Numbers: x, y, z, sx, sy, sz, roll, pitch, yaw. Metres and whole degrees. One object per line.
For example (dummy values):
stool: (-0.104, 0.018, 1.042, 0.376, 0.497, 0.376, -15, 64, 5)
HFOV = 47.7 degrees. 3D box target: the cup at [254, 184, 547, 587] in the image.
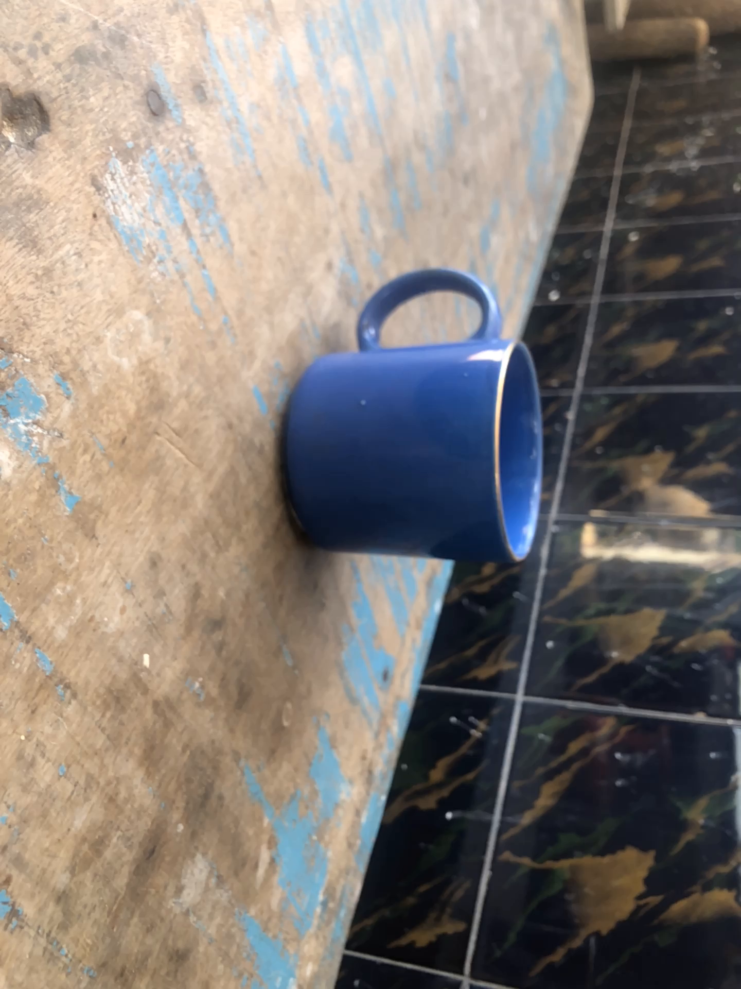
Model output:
cup: (0.016, -0.031, 0.280, 0.070, 0.070, 0.110, 36, 58, -66)
